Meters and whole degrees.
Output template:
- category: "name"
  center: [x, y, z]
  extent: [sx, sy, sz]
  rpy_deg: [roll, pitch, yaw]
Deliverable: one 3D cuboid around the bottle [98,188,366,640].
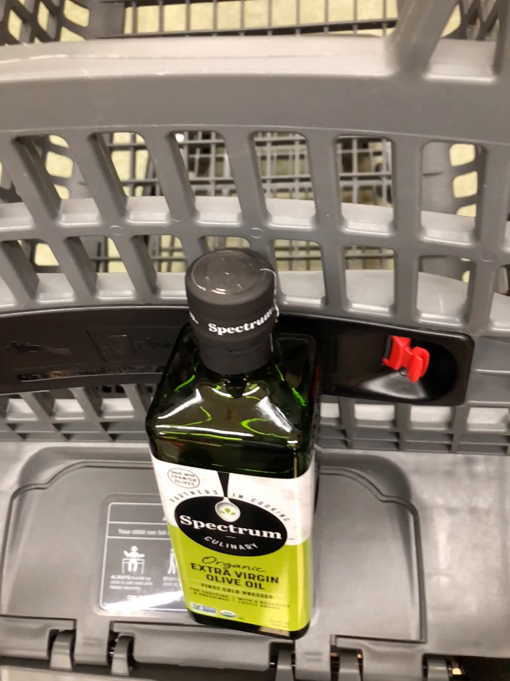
- category: "bottle"
  center: [0.001, 0.058, 0.285]
  extent: [0.080, 0.251, 0.076]
  rpy_deg: [-1, 44, 1]
